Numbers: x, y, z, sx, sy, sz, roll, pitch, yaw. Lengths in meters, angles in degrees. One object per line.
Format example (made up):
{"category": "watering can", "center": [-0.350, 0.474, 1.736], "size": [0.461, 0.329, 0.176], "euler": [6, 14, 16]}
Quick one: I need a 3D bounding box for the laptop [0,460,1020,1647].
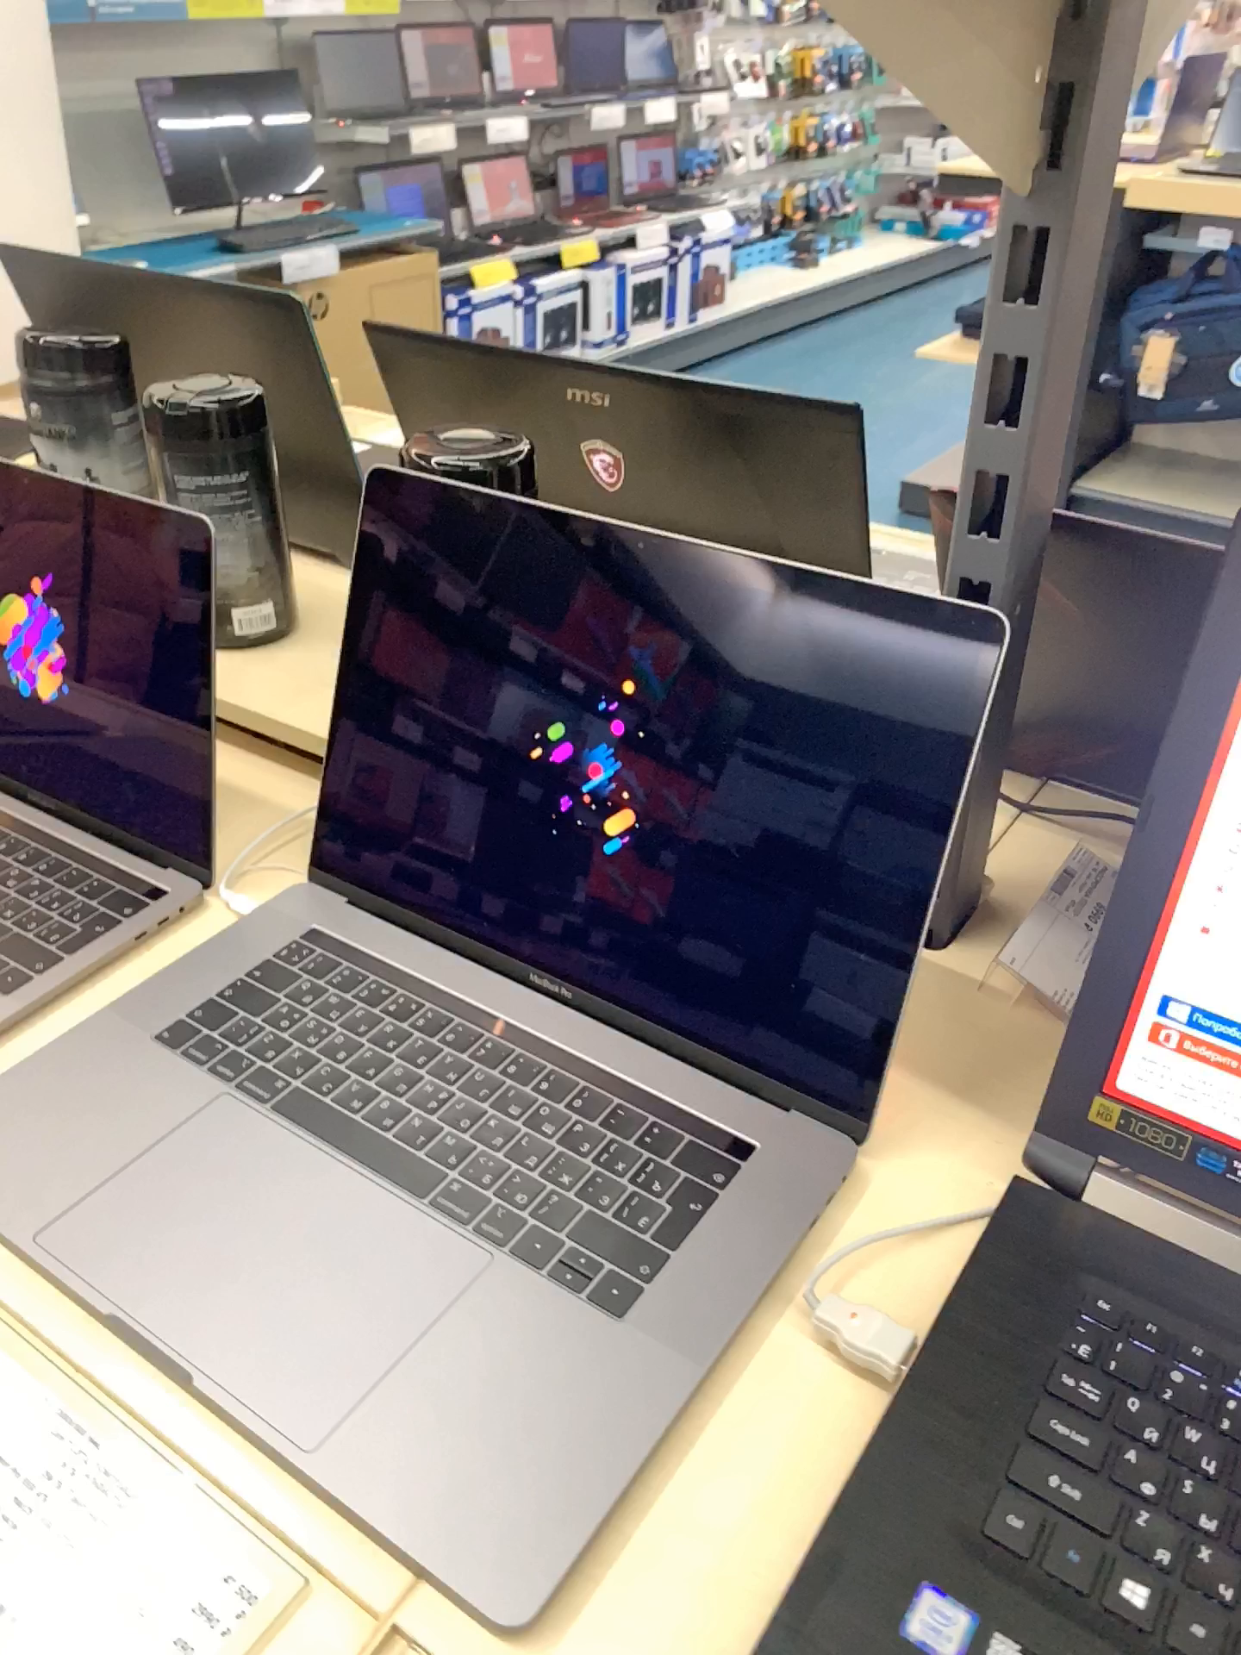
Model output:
{"category": "laptop", "center": [-0.080, 0.027, 0.518], "size": [0.345, 0.210, 0.326], "euler": [21, 39, 29]}
